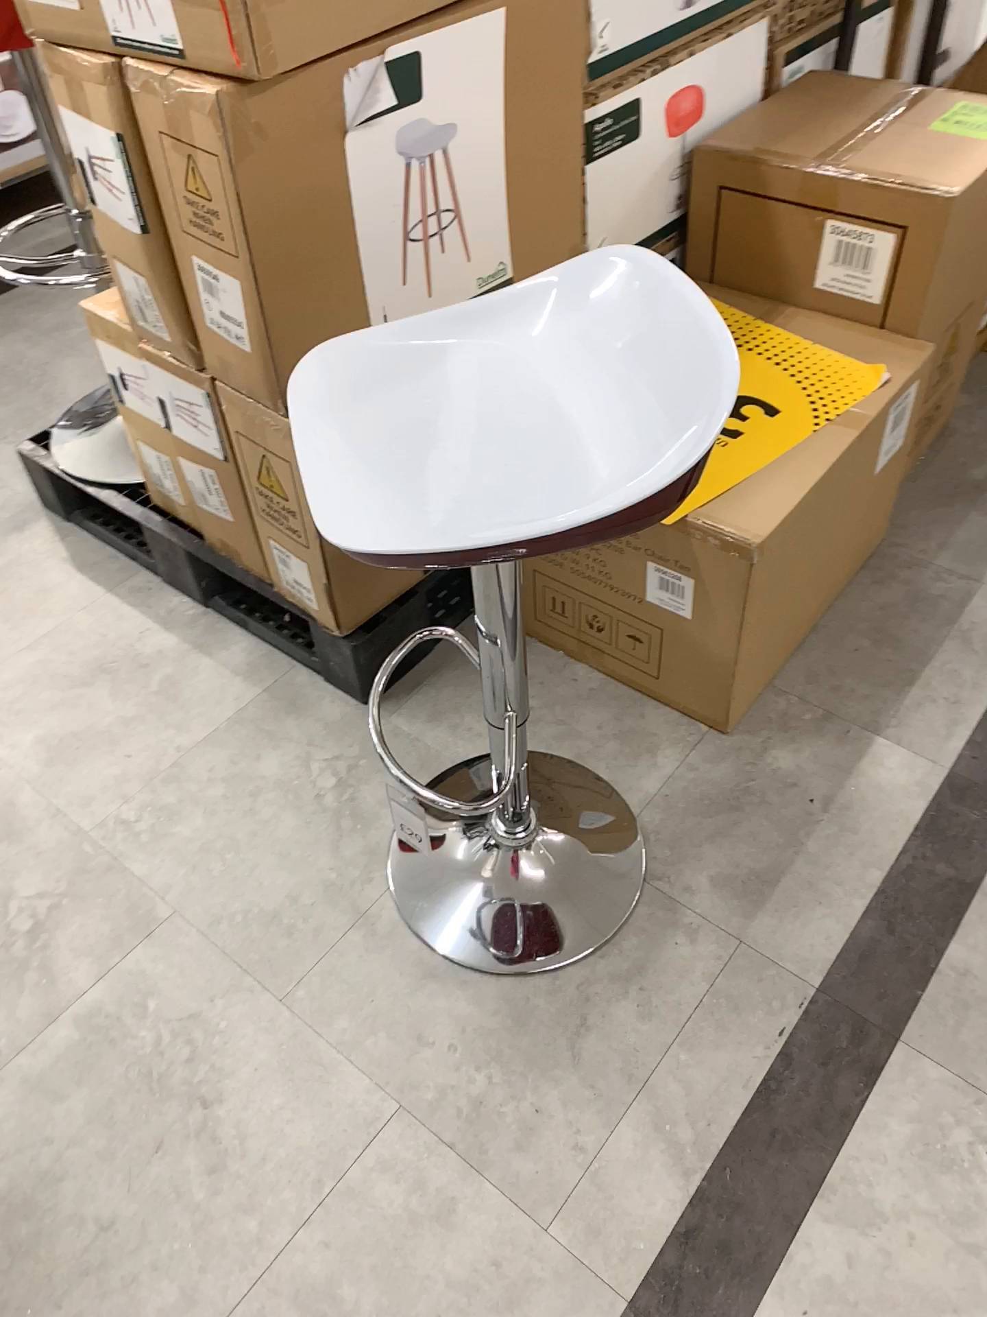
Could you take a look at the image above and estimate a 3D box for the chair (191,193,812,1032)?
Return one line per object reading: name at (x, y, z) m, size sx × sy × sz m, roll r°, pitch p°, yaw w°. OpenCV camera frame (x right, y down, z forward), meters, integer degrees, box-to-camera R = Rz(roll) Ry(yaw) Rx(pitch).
chair at (-0.005, -0.012, 1.155) m, size 0.434 × 0.793 × 0.439 m, roll -14°, pitch 46°, yaw -9°
